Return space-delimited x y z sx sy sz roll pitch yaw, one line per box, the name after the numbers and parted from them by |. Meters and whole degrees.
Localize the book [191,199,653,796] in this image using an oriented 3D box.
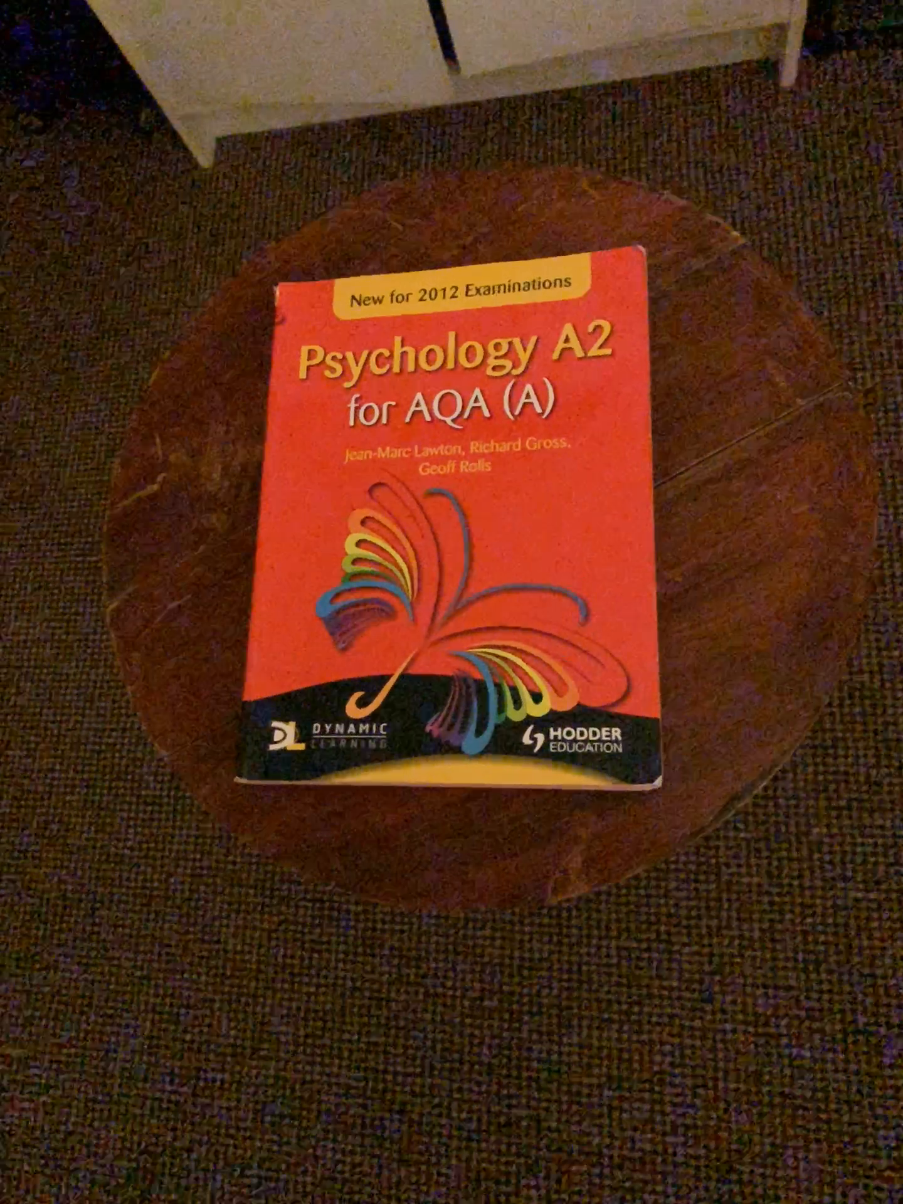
-0.010 -0.054 0.465 0.210 0.040 0.291 -2 74 13 | book
